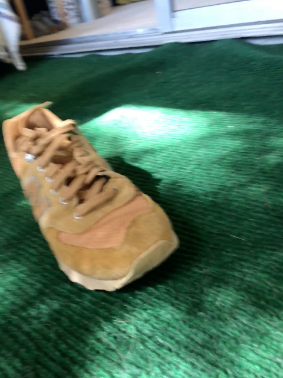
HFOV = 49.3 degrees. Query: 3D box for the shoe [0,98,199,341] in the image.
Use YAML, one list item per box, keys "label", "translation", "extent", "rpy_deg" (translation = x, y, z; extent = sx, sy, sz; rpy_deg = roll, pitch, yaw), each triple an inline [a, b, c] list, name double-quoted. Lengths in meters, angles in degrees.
- label: "shoe"
  translation: [-0.079, -0.005, 0.311]
  extent: [0.110, 0.099, 0.261]
  rpy_deg: [-30, 37, -23]
